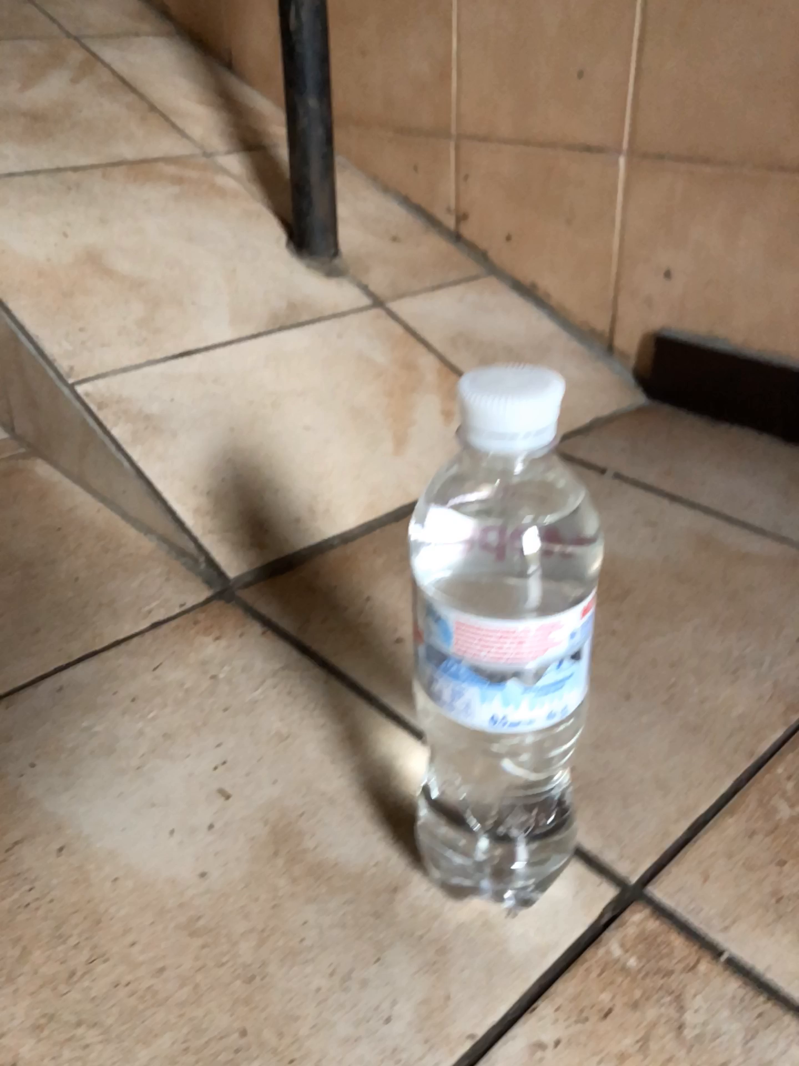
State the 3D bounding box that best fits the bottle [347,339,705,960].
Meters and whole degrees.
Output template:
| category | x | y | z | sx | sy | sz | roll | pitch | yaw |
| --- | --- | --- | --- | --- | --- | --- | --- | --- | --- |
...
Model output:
| category | x | y | z | sx | sy | sz | roll | pitch | yaw |
| --- | --- | --- | --- | --- | --- | --- | --- | --- | --- |
| bottle | 0.037 | 0.044 | 0.320 | 0.080 | 0.199 | 0.080 | -1 | 30 | 1 |
